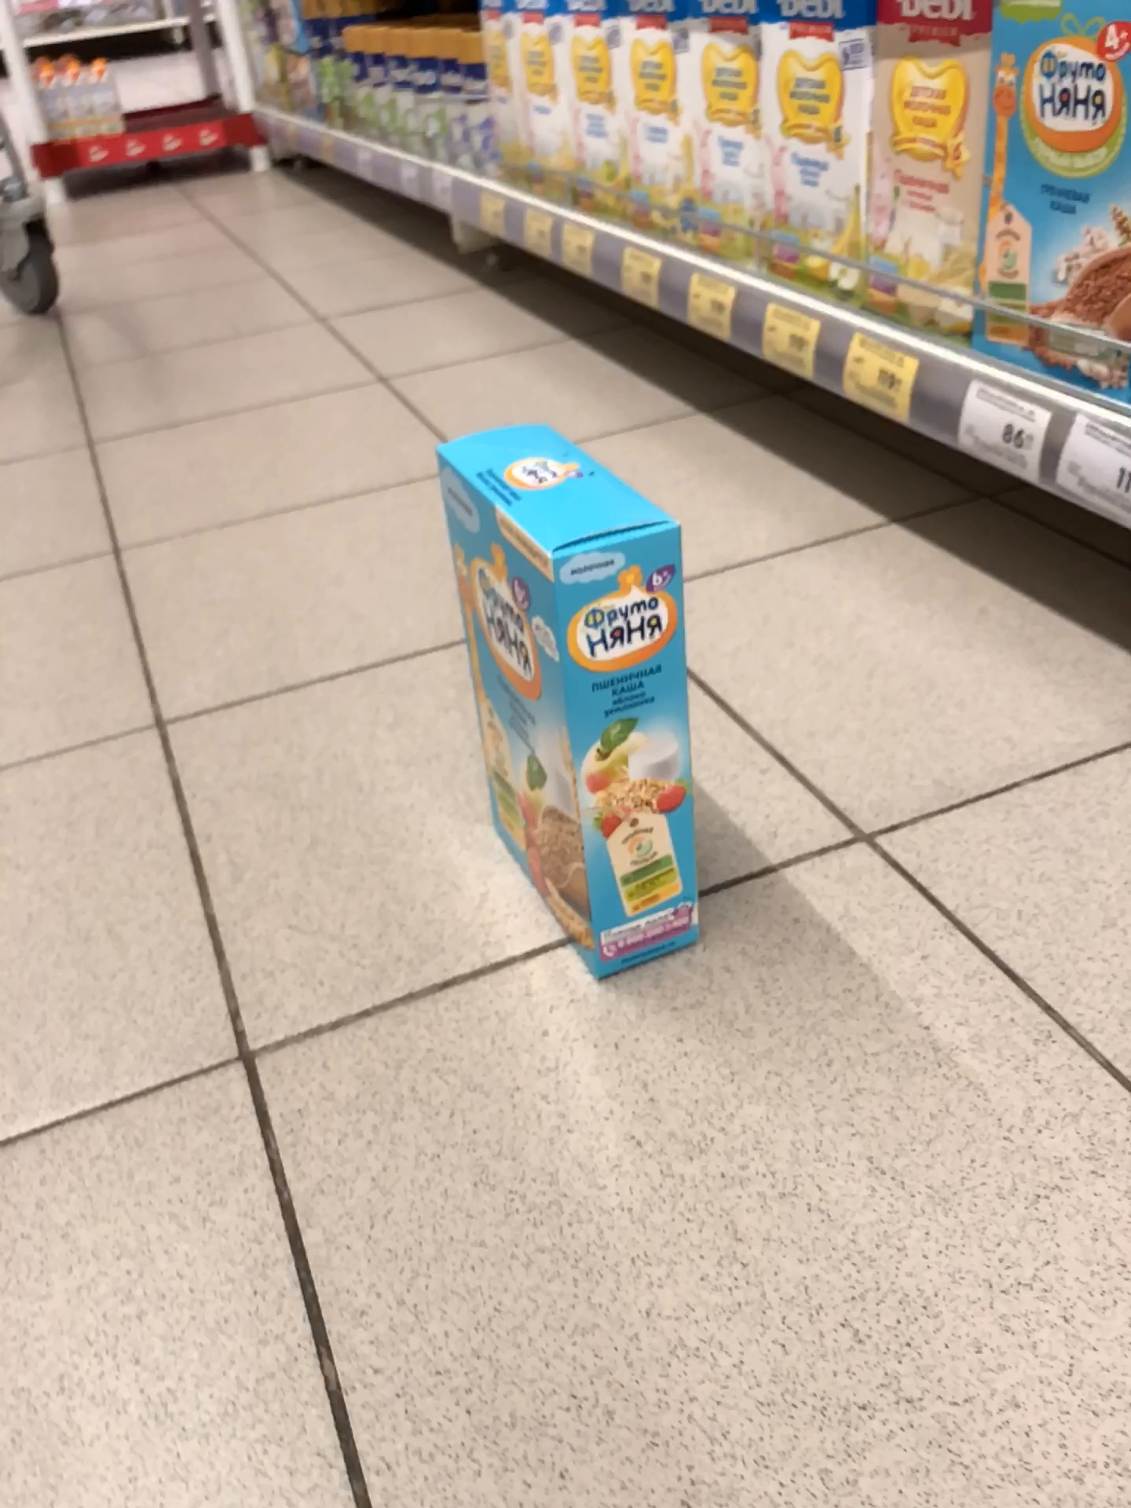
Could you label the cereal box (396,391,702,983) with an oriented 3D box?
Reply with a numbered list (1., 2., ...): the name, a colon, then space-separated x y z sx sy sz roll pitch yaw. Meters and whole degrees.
1. cereal box: -0.006 -0.031 0.526 0.060 0.199 0.141 -17 34 -16
